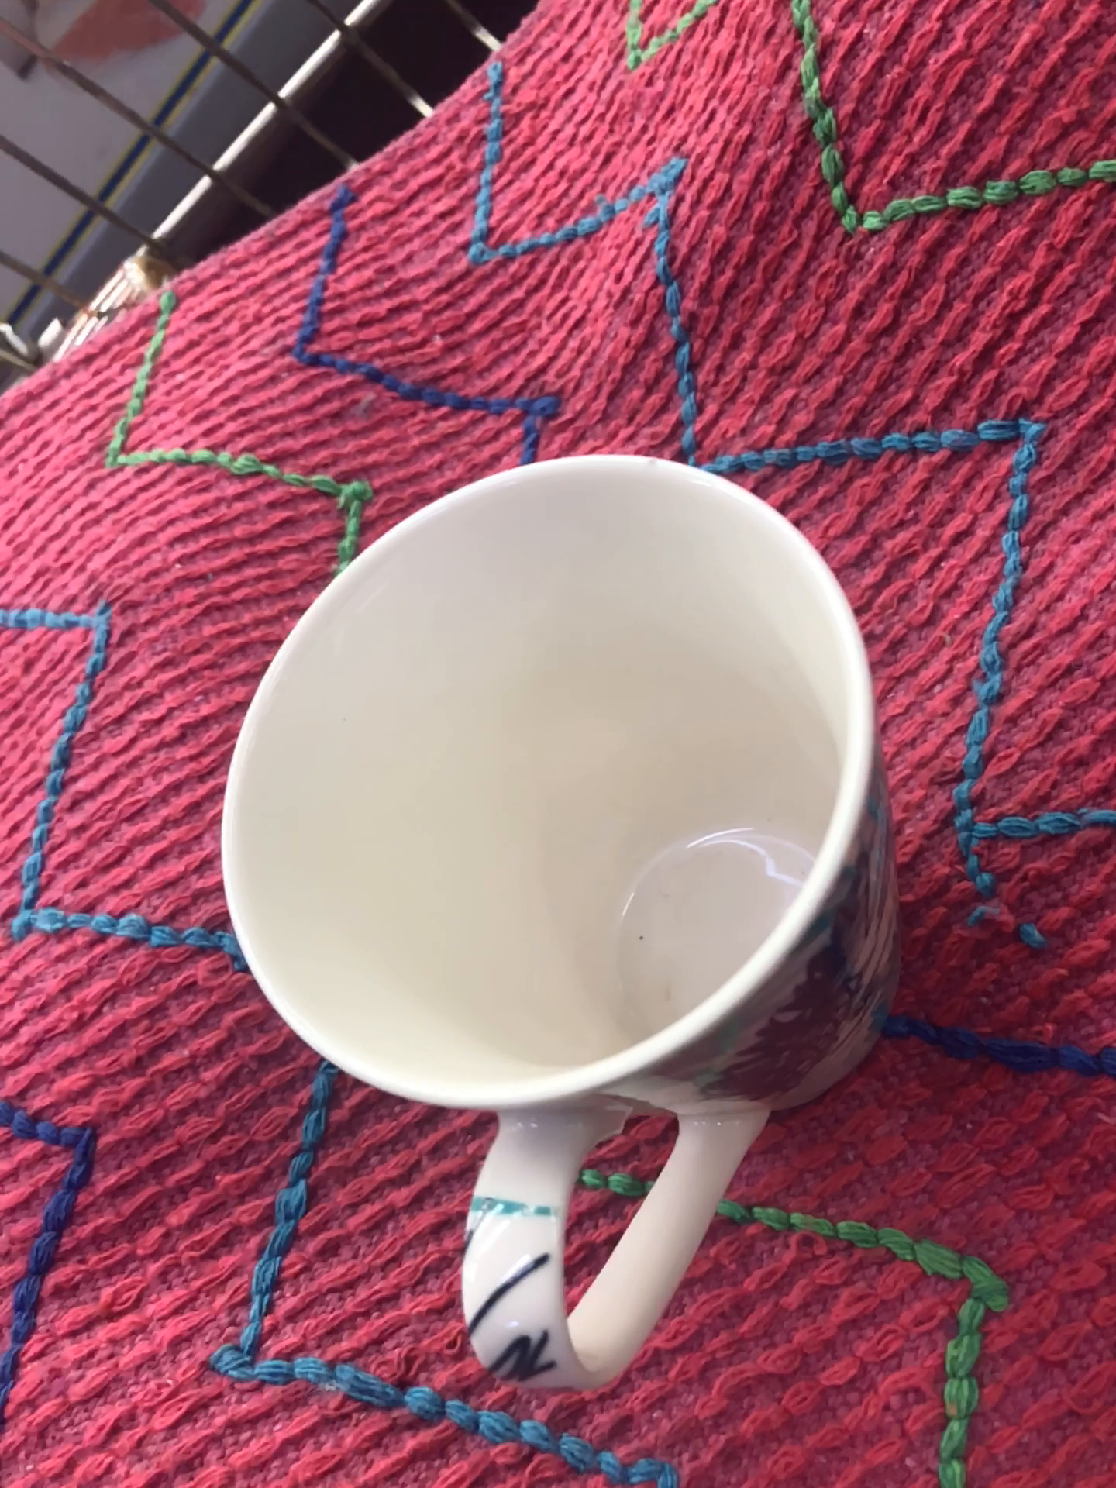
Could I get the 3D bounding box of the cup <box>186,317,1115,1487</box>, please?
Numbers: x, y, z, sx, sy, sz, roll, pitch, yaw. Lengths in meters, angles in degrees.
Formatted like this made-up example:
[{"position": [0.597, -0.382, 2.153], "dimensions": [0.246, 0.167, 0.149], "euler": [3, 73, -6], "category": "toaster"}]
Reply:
[{"position": [0.015, 0.026, 0.165], "dimensions": [0.090, 0.080, 0.110], "euler": [-10, 72, 23], "category": "cup"}]
